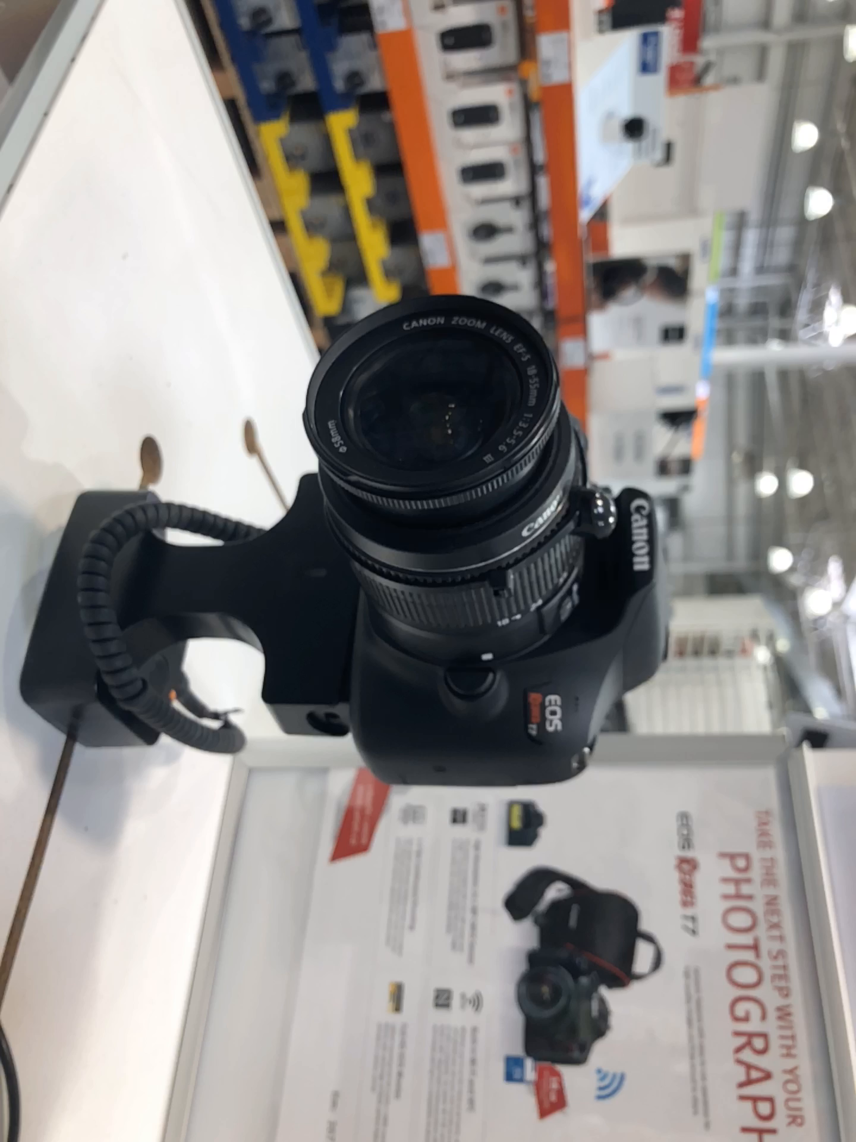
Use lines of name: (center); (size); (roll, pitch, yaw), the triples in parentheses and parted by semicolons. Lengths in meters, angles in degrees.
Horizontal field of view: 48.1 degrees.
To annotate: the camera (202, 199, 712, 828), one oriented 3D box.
camera: (0.021, -0.005, 0.300); (0.150, 0.110, 0.130); (71, 20, -59)
